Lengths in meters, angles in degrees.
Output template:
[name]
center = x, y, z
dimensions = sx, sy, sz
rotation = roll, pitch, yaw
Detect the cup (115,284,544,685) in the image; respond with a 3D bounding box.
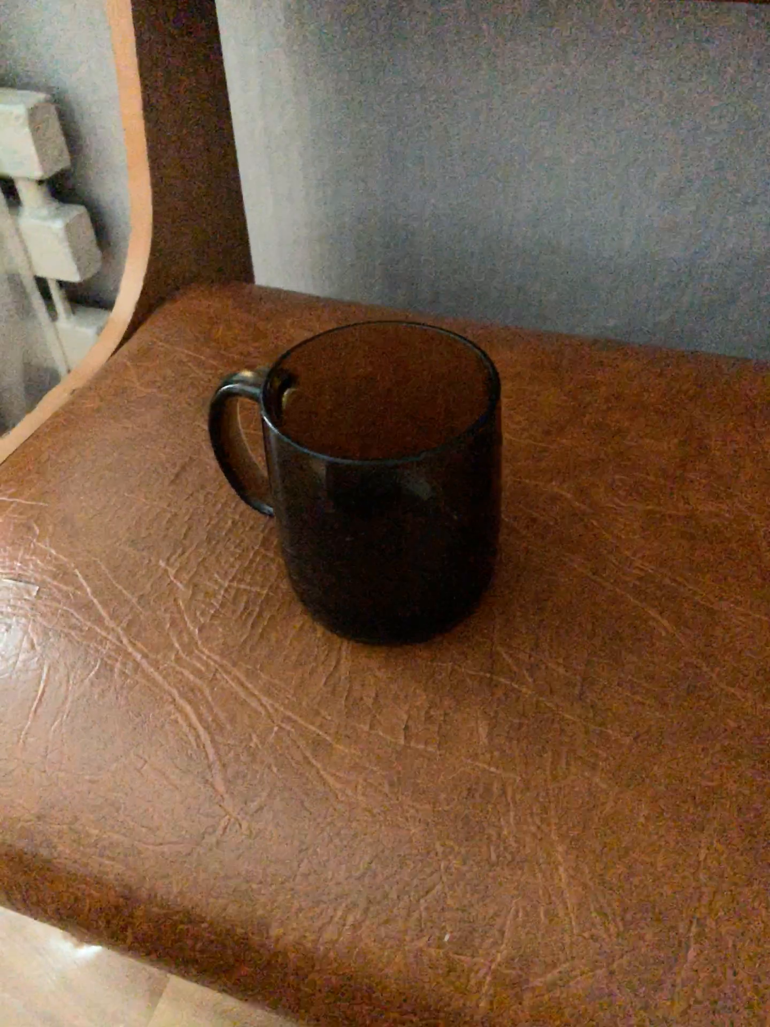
[cup]
center = -0.016, -0.015, 0.298
dimensions = 0.120, 0.089, 0.081
rotation = 19, 48, 21
